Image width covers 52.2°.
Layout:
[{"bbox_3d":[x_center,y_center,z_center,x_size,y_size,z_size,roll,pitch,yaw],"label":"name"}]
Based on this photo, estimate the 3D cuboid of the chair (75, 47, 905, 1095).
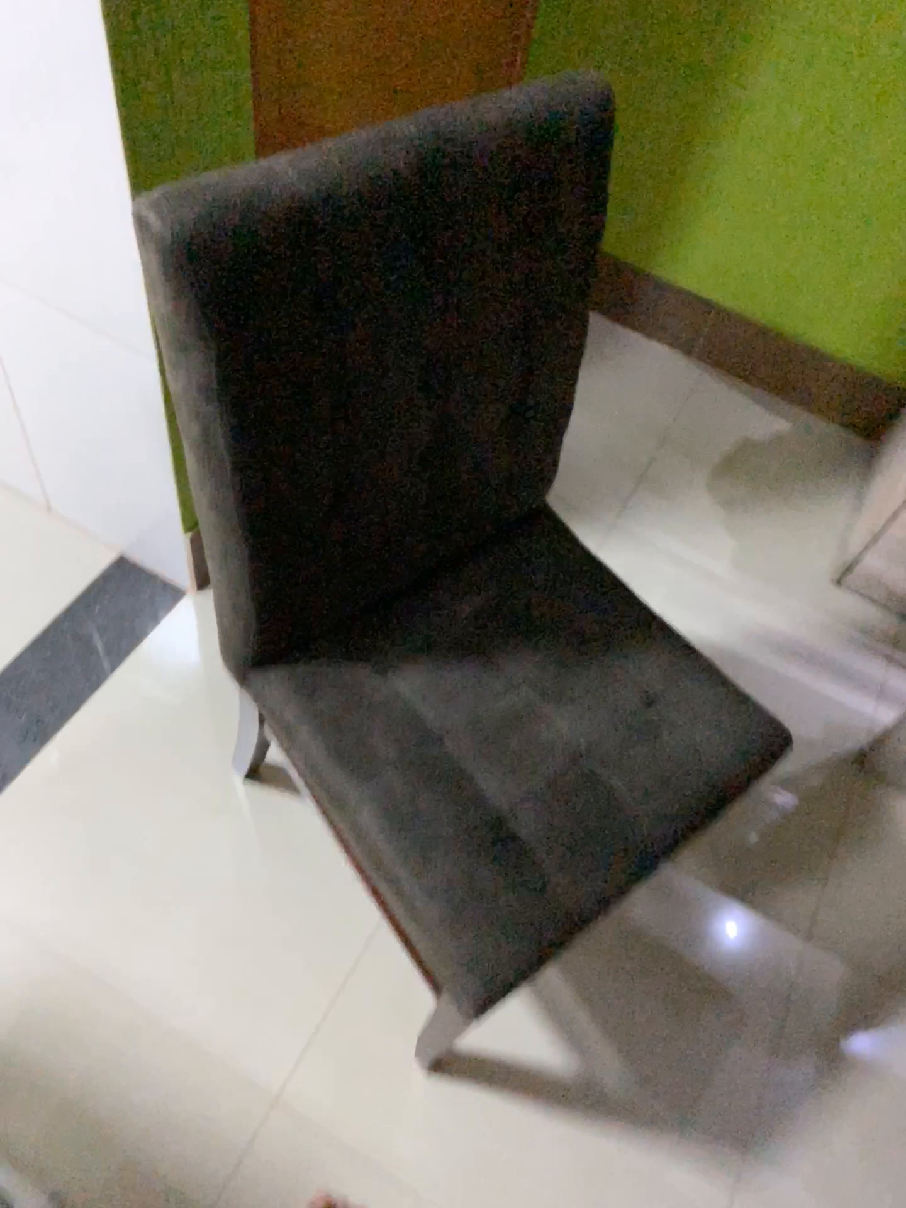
[{"bbox_3d":[0.054,0.060,1.057,0.542,0.972,0.572,-31,66,-26],"label":"chair"}]
